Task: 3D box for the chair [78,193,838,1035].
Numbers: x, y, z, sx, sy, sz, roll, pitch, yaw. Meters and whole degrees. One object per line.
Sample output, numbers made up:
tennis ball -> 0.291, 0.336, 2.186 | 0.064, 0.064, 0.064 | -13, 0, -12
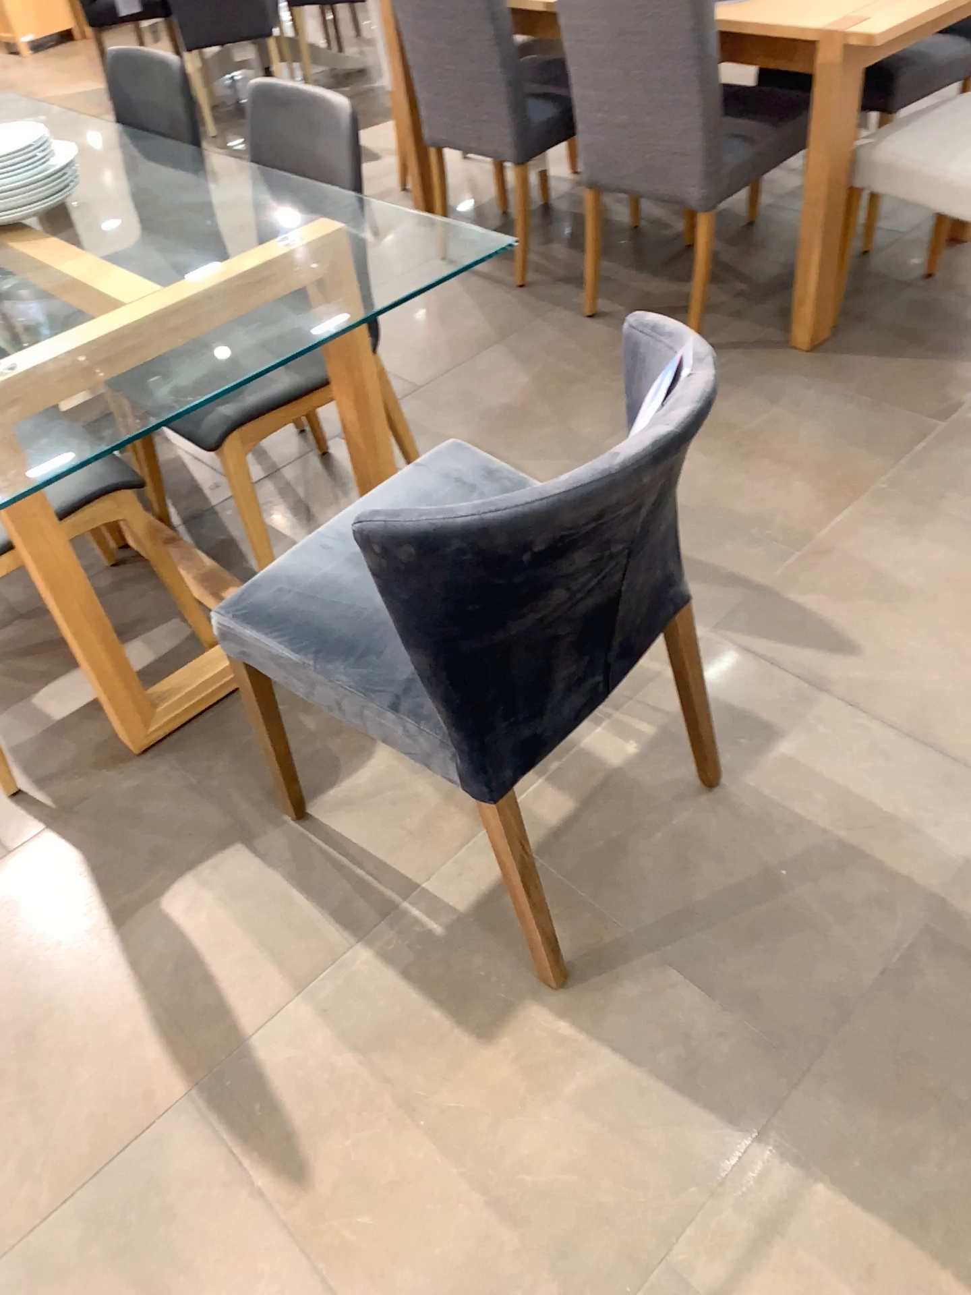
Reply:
chair -> 0.005, -0.062, 1.360 | 0.616, 0.805, 0.580 | 29, 55, 34
